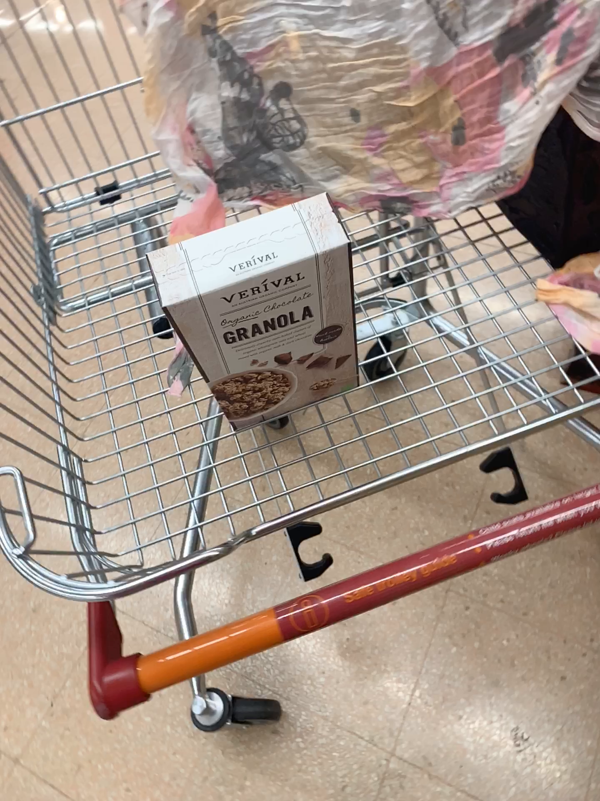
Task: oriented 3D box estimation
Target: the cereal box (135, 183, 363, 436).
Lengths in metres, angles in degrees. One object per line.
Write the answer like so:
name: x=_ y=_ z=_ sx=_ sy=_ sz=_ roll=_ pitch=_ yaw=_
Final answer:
cereal box: x=-0.025 y=-0.056 z=0.496 sx=0.140 sy=0.219 sz=0.050 roll=-19 pitch=65 yaw=-4
